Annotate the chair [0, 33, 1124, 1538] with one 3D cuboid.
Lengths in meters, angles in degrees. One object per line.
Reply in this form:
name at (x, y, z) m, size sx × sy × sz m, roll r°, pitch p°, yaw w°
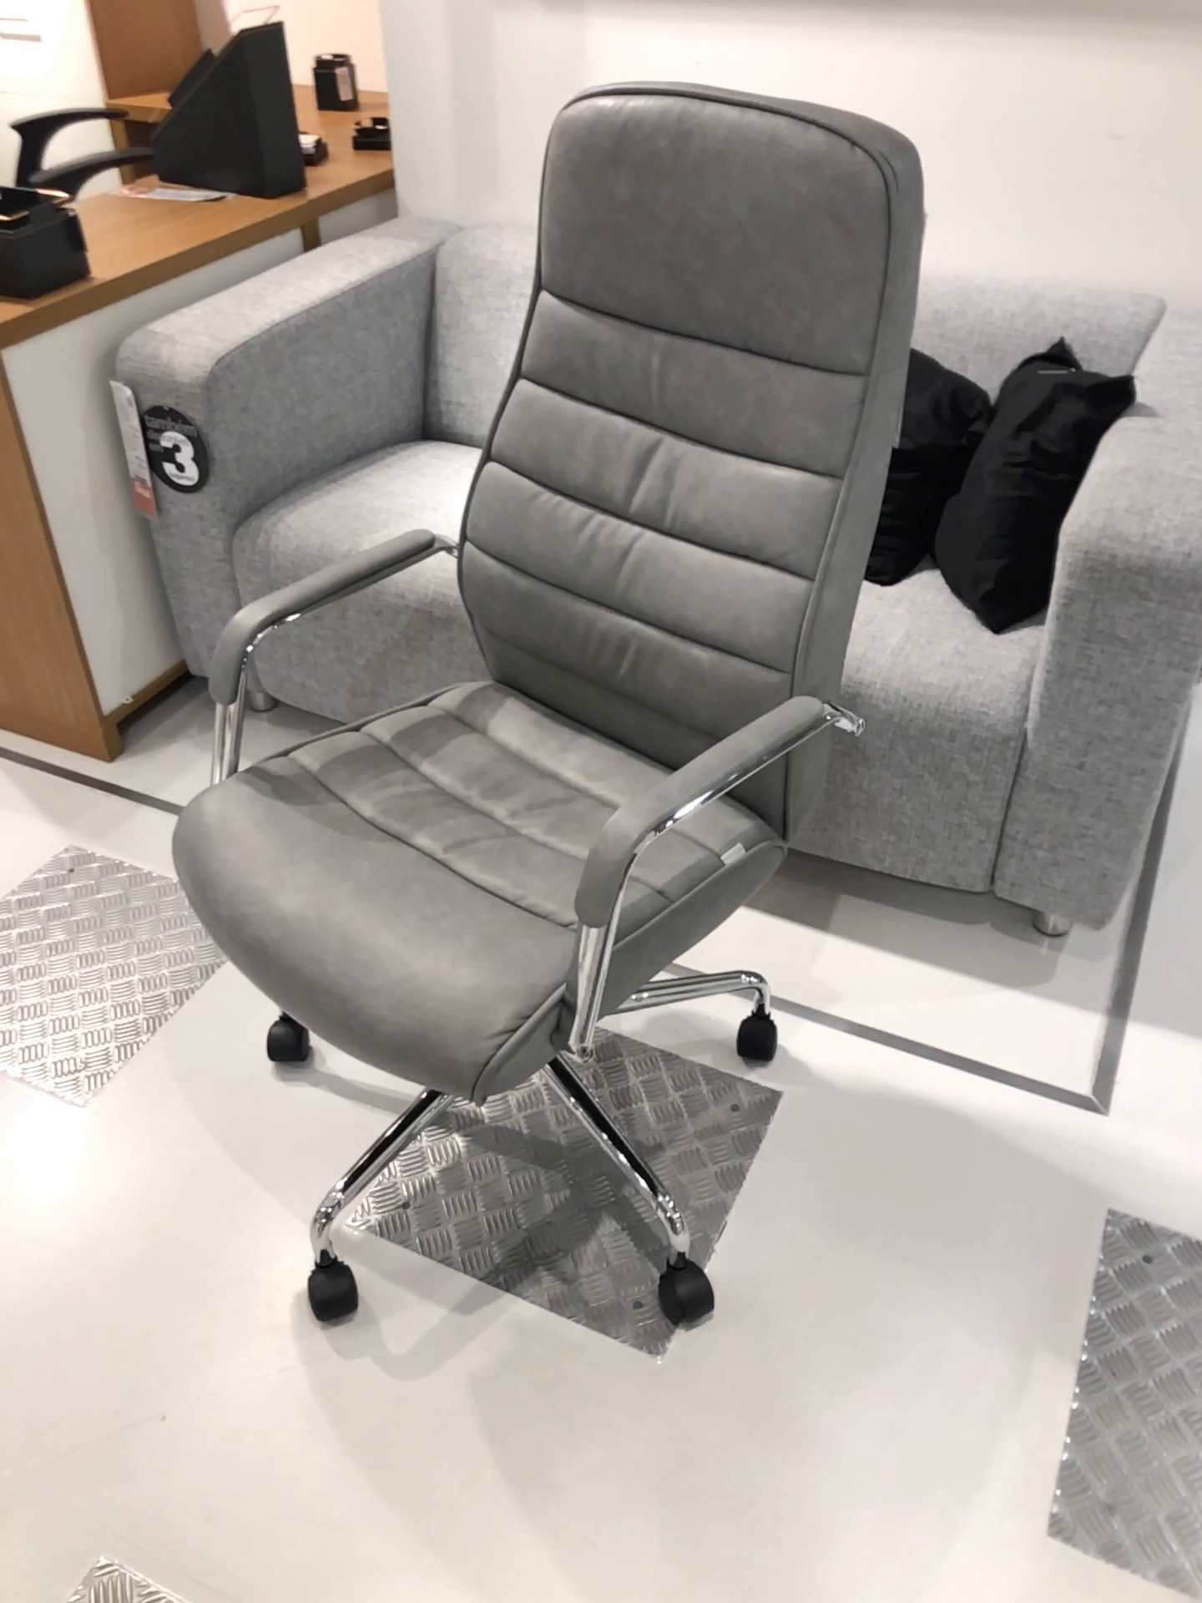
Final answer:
chair at (-0.113, -0.068, 1.278) m, size 0.722 × 1.052 × 0.724 m, roll 28°, pitch 46°, yaw 32°
